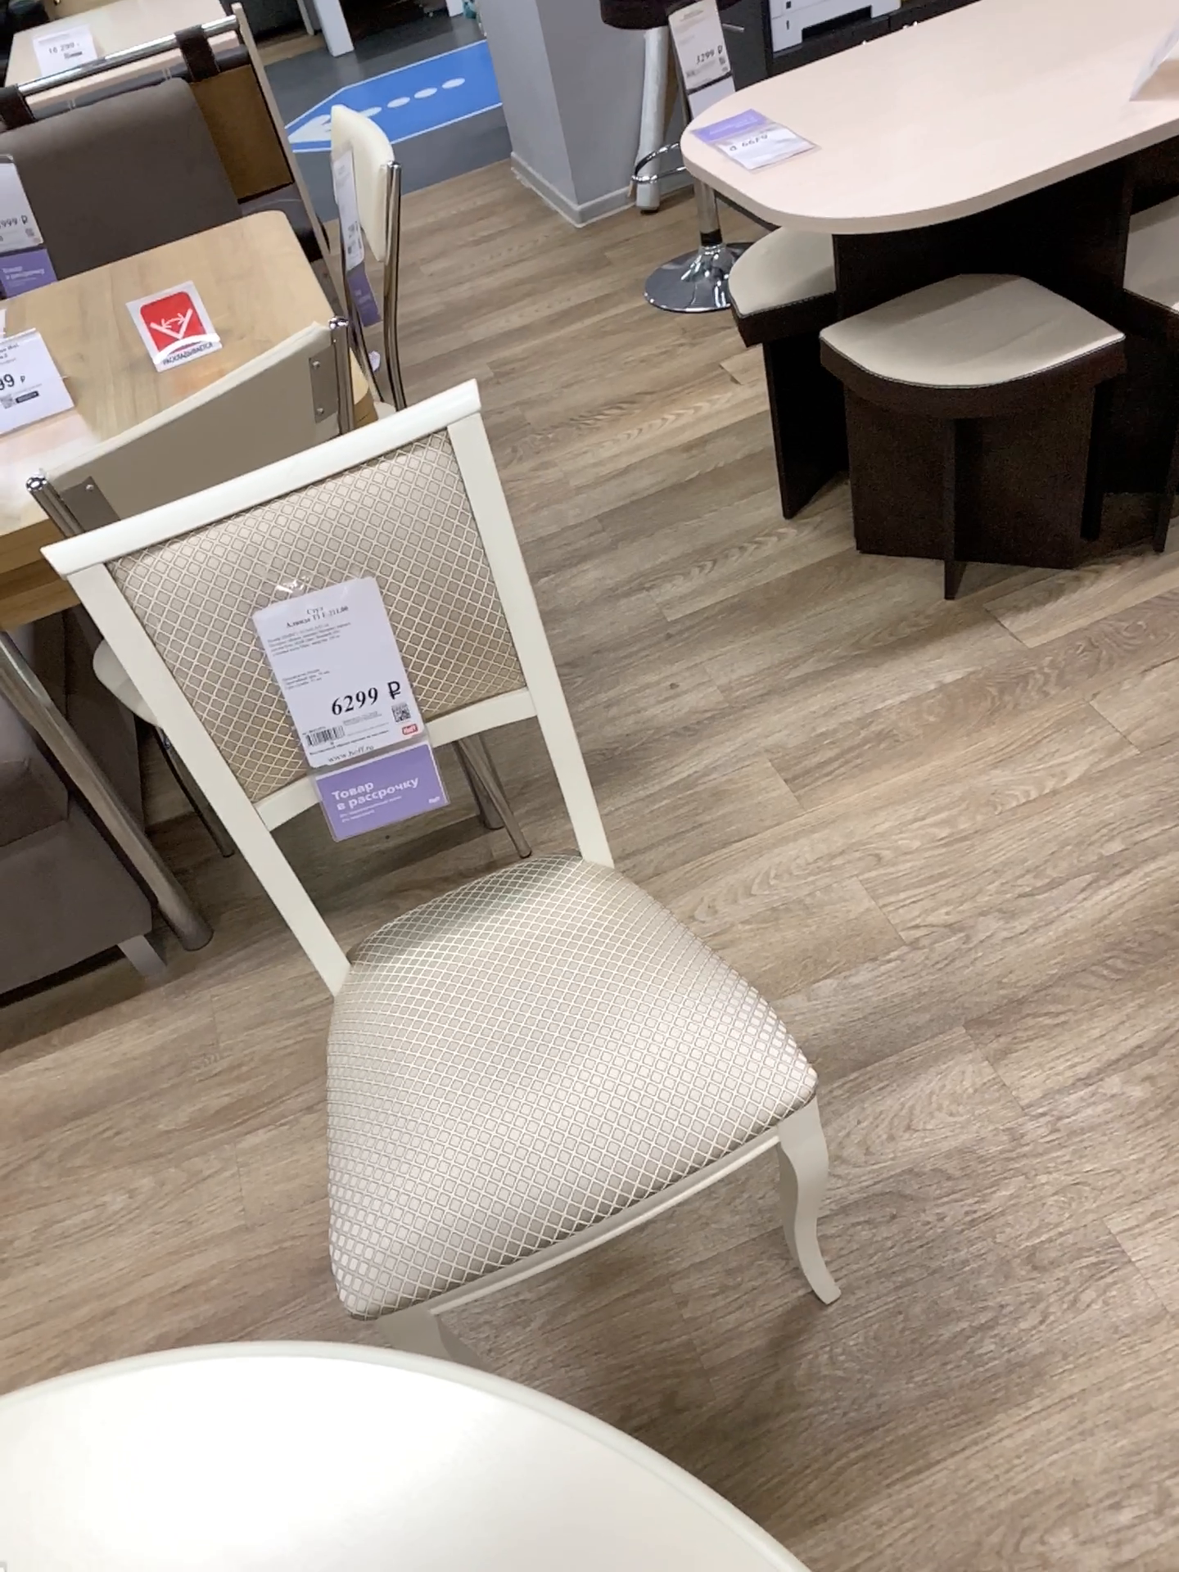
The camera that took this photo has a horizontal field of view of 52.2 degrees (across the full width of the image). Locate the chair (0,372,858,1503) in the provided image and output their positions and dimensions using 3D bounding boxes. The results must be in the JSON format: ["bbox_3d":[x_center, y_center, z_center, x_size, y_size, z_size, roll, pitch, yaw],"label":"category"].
[{"bbox_3d":[-0.100,0.197,1.179,0.460,0.925,0.513,-24,44,-8],"label":"chair"}]
